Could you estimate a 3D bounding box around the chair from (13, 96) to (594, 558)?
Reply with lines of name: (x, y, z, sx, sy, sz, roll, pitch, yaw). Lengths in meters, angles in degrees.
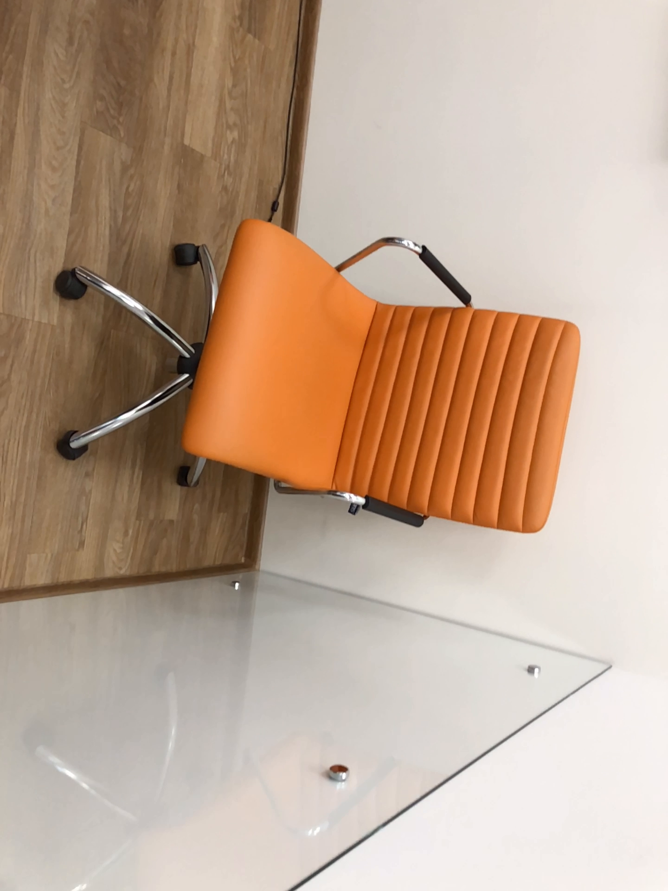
chair: (-0.048, -0.170, 1.515, 0.664, 0.895, 0.620, 17, 82, -54)
